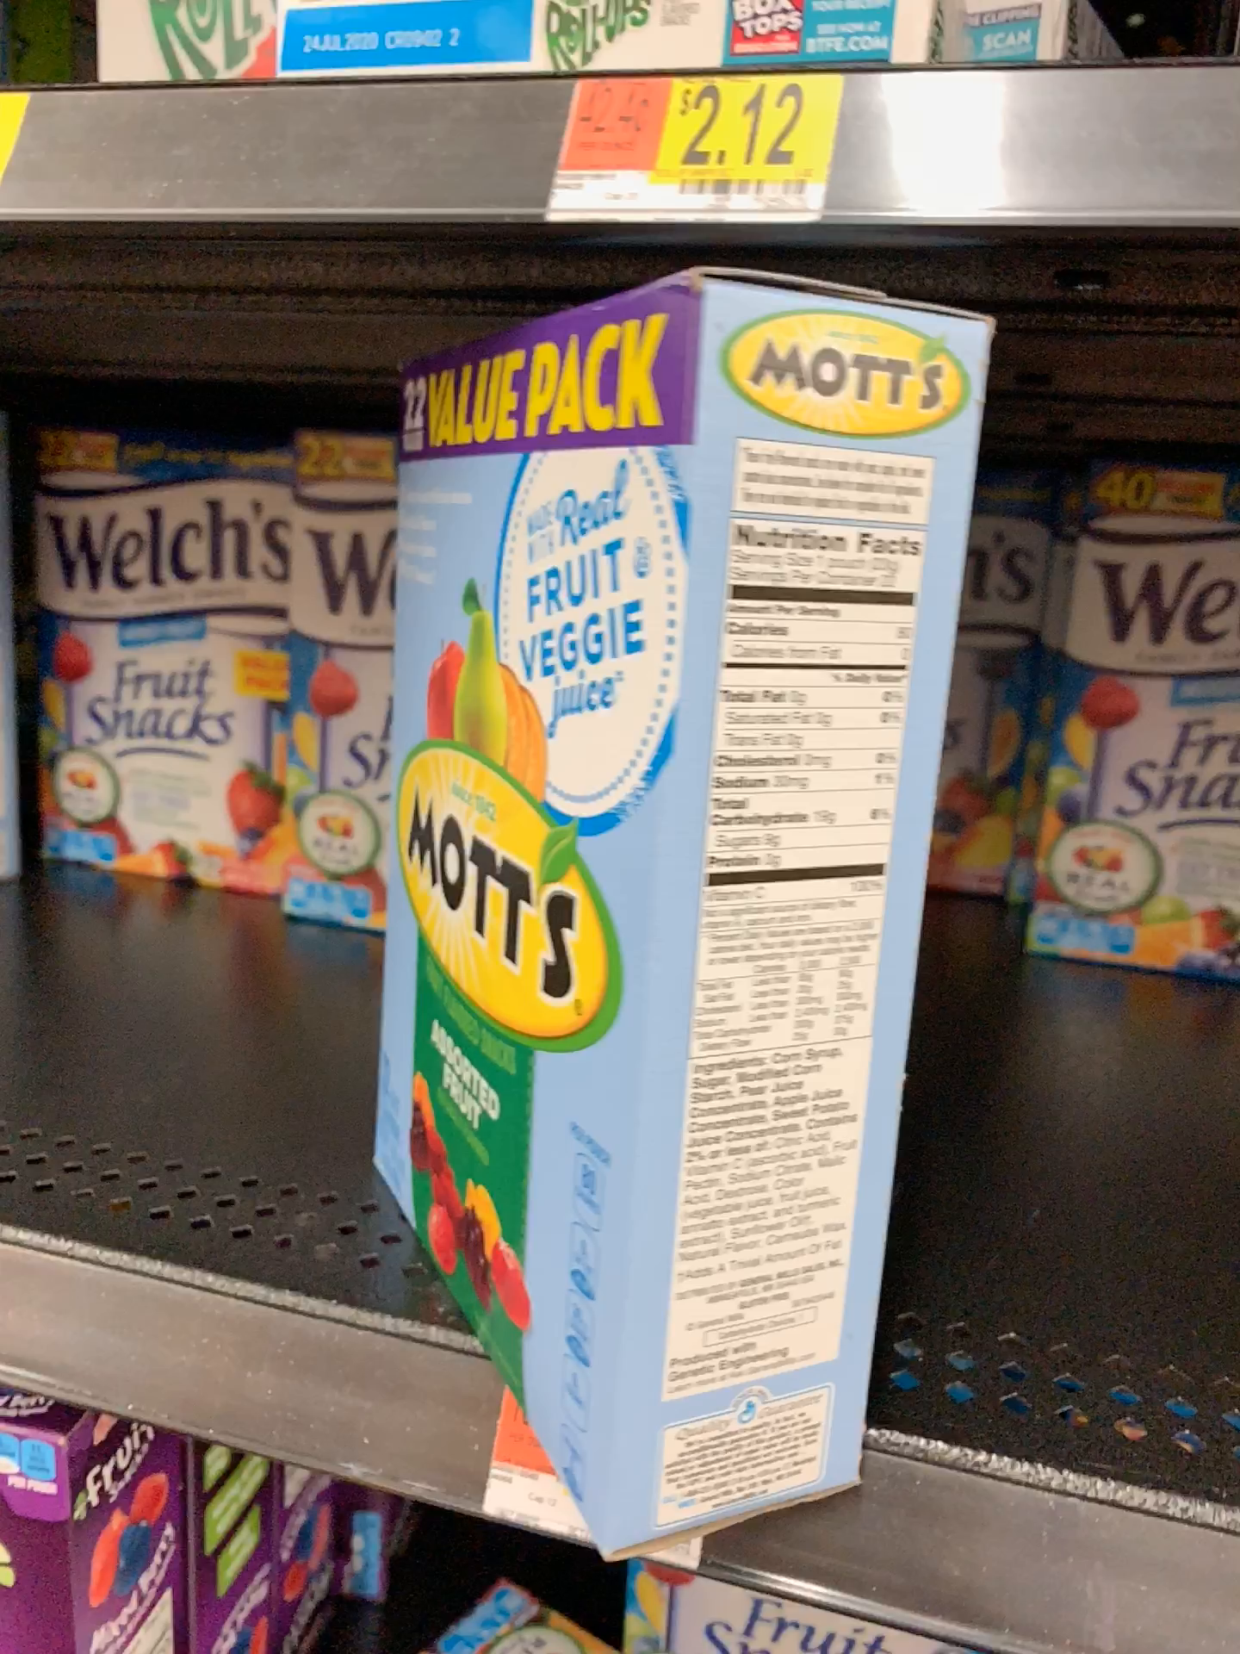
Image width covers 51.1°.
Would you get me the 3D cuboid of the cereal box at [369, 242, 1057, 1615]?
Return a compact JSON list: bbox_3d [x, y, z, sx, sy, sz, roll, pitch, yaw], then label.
[{"bbox_3d":[-0.002,0.008,0.308,0.060,0.239,0.181,-2,14,-27],"label":"cereal box"}]
